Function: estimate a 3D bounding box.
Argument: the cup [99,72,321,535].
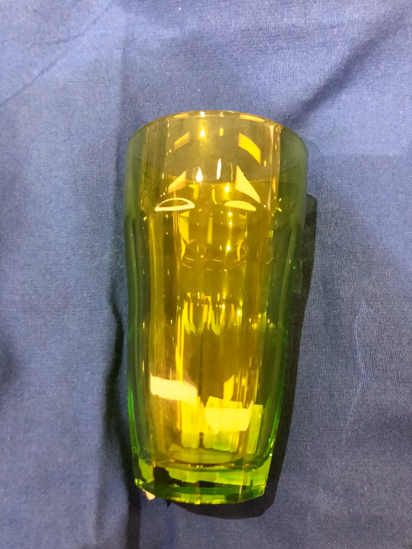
[{"bbox_3d":[0.002,0.009,0.194,0.070,0.070,0.160,2,79,-2],"label":"cup"}]
